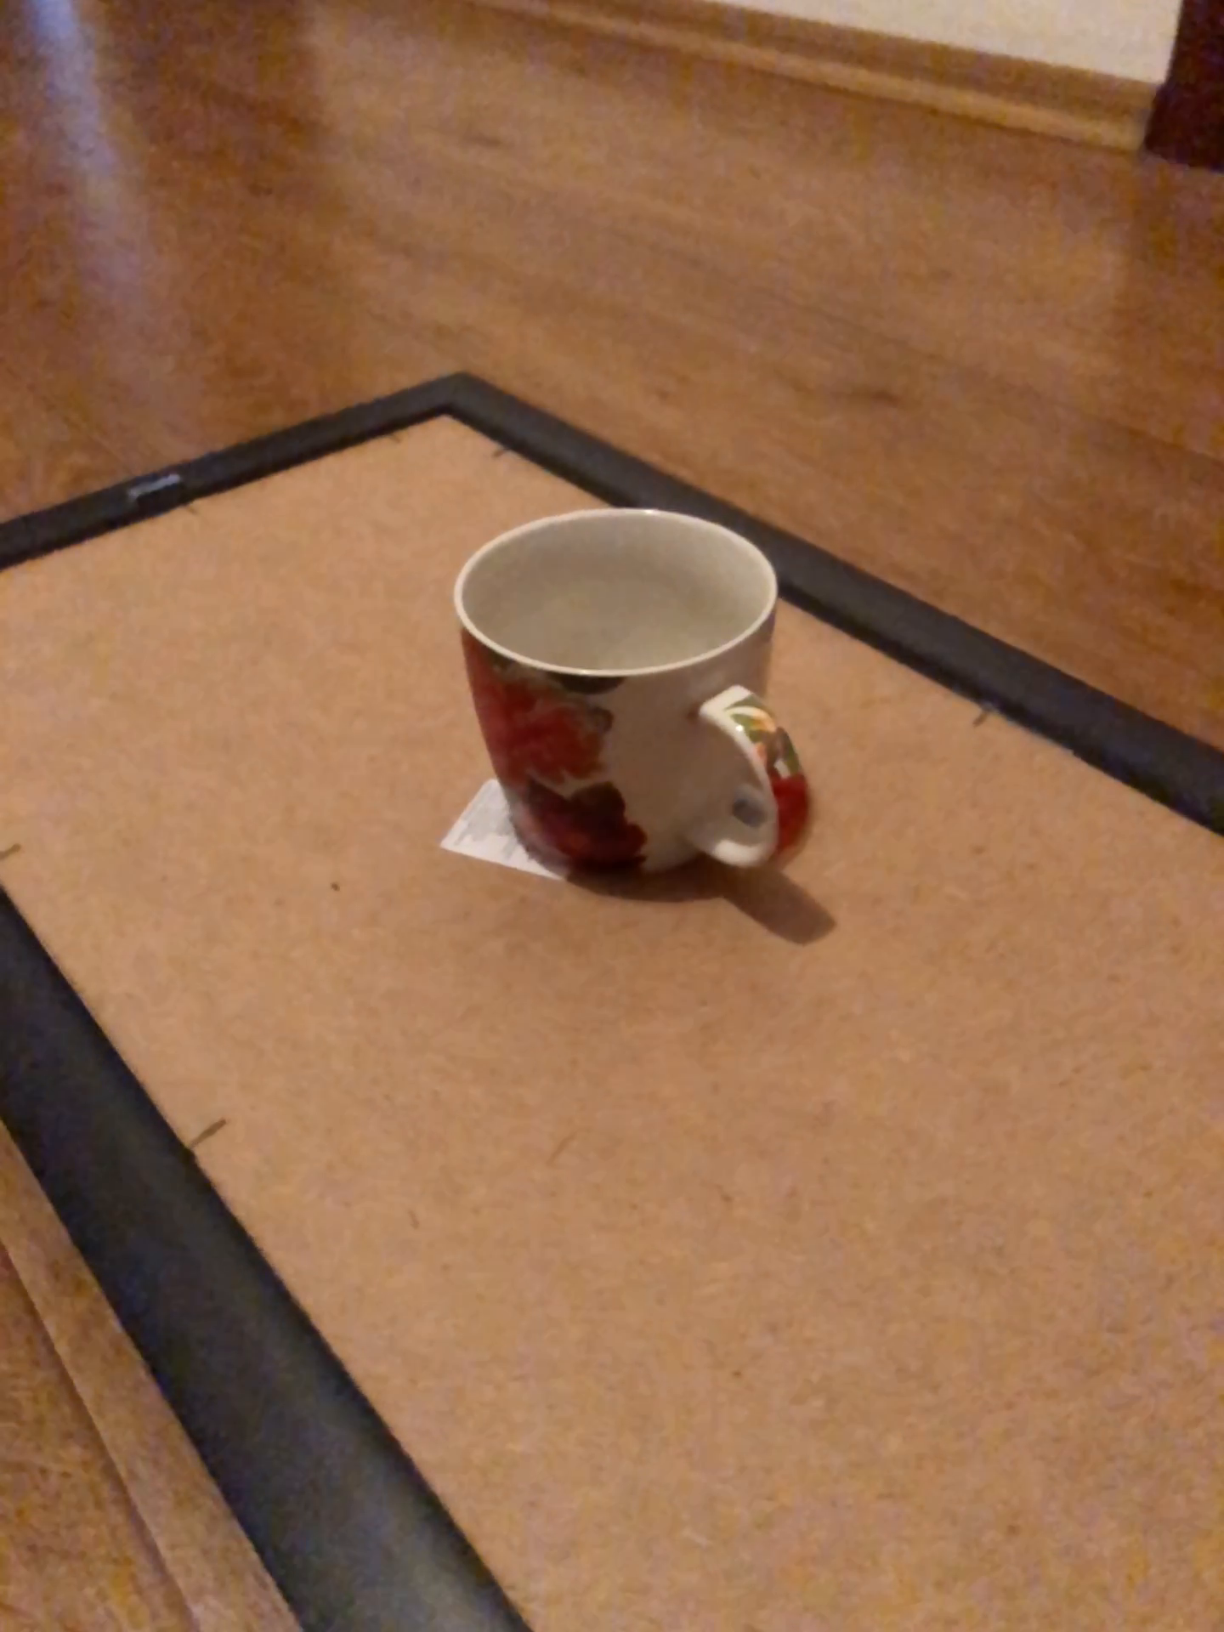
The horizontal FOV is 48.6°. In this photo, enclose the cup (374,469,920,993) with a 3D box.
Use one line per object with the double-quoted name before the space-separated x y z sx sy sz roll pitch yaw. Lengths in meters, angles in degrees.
"cup" 0.008 -0.032 0.406 0.098 0.079 0.122 -29 47 -29
